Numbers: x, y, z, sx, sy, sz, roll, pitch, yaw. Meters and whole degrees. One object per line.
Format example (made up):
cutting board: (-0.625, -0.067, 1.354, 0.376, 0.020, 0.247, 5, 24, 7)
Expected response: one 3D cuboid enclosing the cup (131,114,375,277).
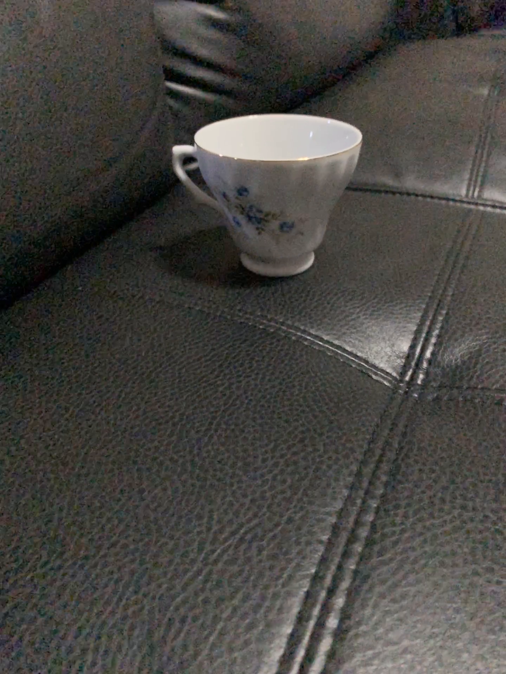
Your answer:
cup: (0.007, -0.084, 0.295, 0.113, 0.059, 0.094, 5, 32, 9)
